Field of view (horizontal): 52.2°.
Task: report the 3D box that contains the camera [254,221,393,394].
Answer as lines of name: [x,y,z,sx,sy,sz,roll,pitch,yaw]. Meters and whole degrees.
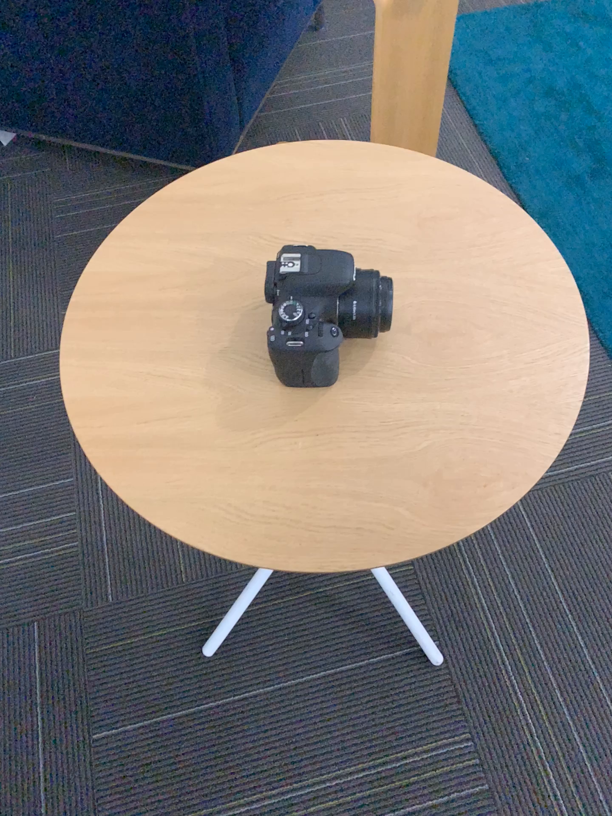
camera: [0.019,-0.095,0.602,0.117,0.100,0.130,0,60,4]
